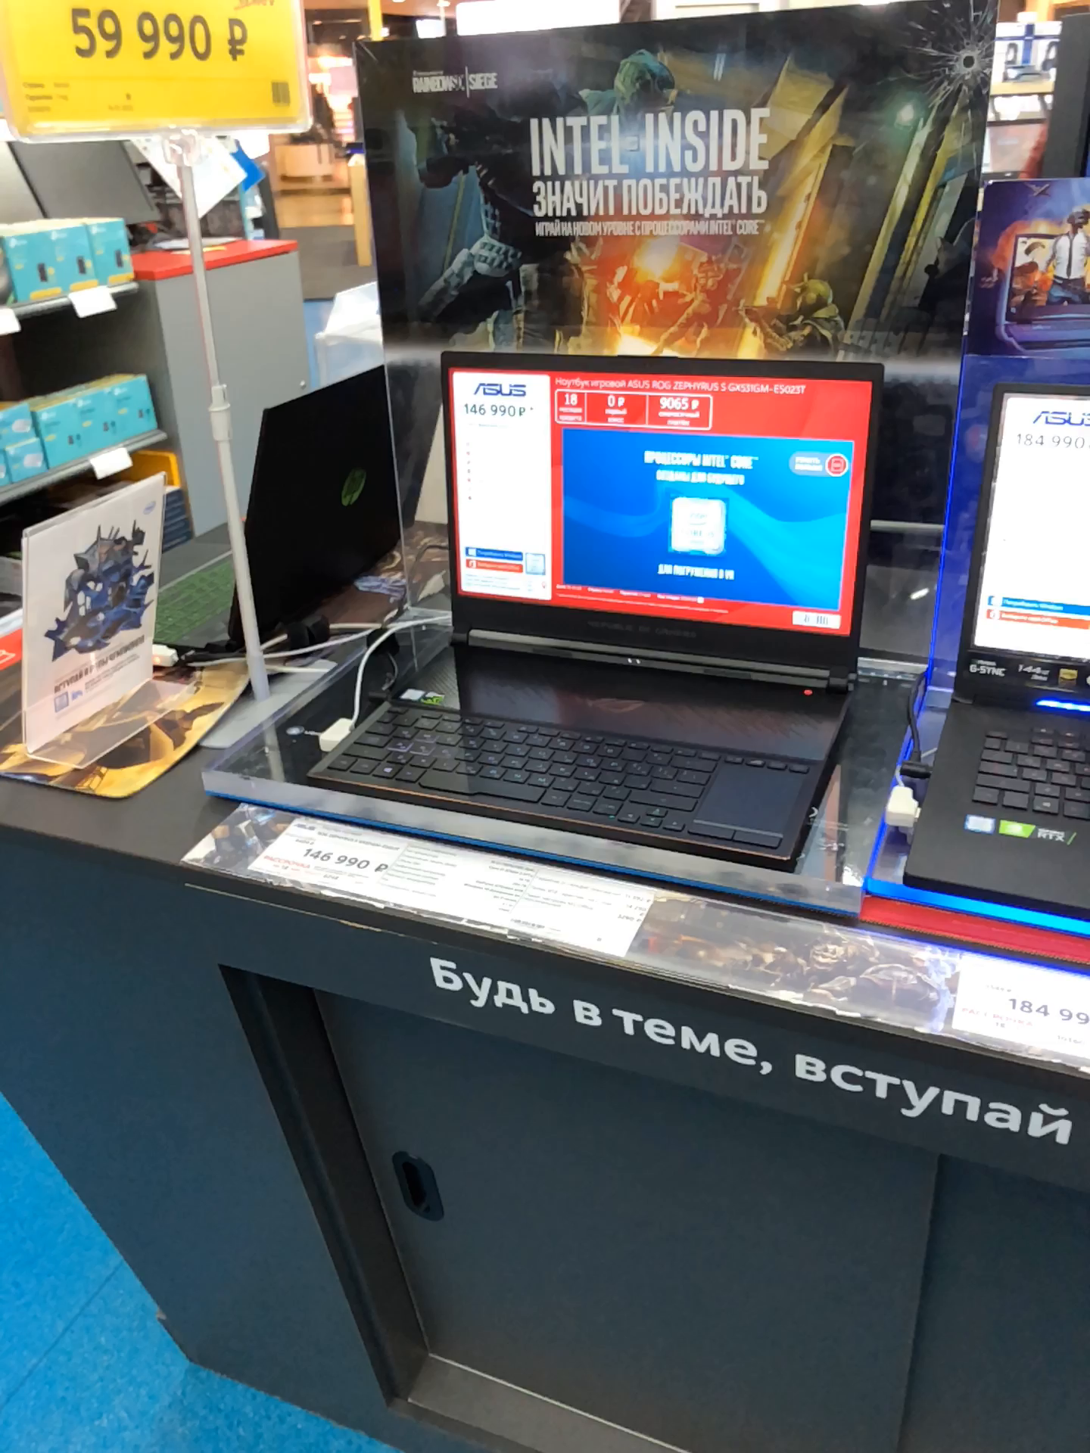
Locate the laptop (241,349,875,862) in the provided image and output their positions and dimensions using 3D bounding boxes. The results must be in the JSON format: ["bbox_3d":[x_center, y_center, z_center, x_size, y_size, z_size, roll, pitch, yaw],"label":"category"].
[{"bbox_3d":[0.026,-0.113,0.862,0.350,0.241,0.279,9,30,21],"label":"laptop"}]

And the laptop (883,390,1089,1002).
[{"bbox_3d":[0.427,-0.052,0.730,0.341,0.219,0.302,9,31,24],"label":"laptop"}]
